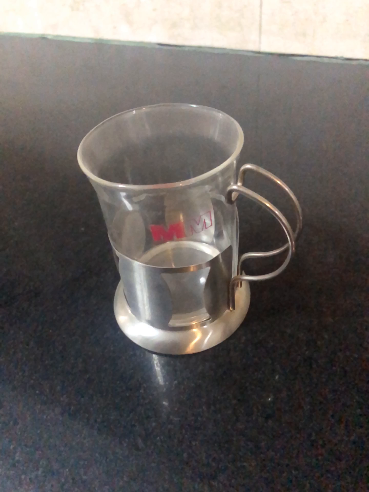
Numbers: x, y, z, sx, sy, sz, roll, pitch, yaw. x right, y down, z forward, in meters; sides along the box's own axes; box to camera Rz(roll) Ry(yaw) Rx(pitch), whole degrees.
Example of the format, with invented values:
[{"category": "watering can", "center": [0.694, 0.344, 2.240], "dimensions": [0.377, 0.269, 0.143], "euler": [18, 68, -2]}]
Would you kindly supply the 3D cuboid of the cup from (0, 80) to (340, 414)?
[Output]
[{"category": "cup", "center": [0.000, -0.003, 0.196], "dimensions": [0.110, 0.109, 0.080], "euler": [15, 47, 22]}]
